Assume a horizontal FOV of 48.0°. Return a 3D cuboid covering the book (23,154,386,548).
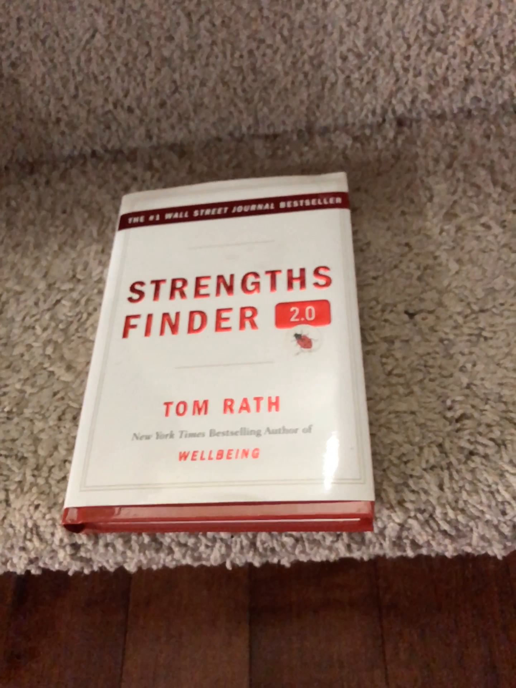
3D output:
[{"bbox_3d":[-0.017,-0.006,0.273,0.136,0.029,0.190,-2,59,8],"label":"book"}]
